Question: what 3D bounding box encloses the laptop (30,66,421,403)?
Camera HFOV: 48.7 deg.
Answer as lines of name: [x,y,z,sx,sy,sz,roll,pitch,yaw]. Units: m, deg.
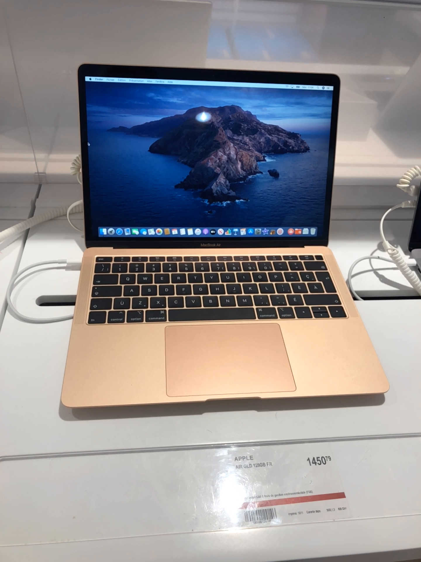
laptop: [0.011,-0.064,0.470,0.291,0.170,0.304,-1,45,-7]
